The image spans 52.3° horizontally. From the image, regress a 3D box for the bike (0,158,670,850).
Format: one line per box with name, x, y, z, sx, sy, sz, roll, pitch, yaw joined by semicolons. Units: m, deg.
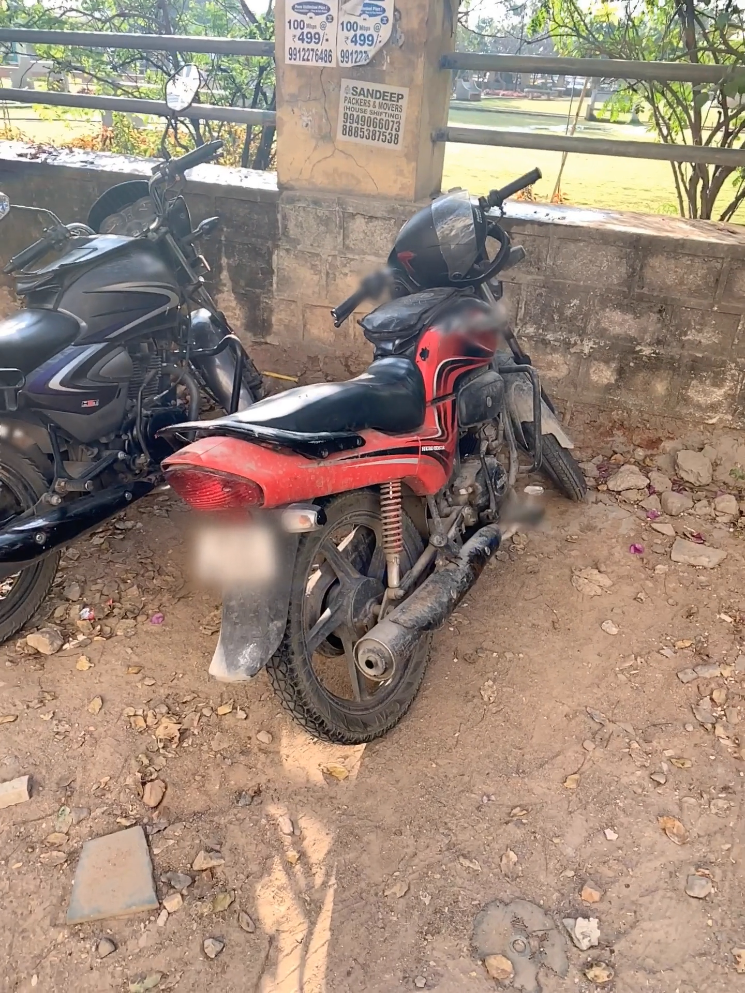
bike;0.012;-0.222;2.165;1.064;1.245;1.601;17;31;23
